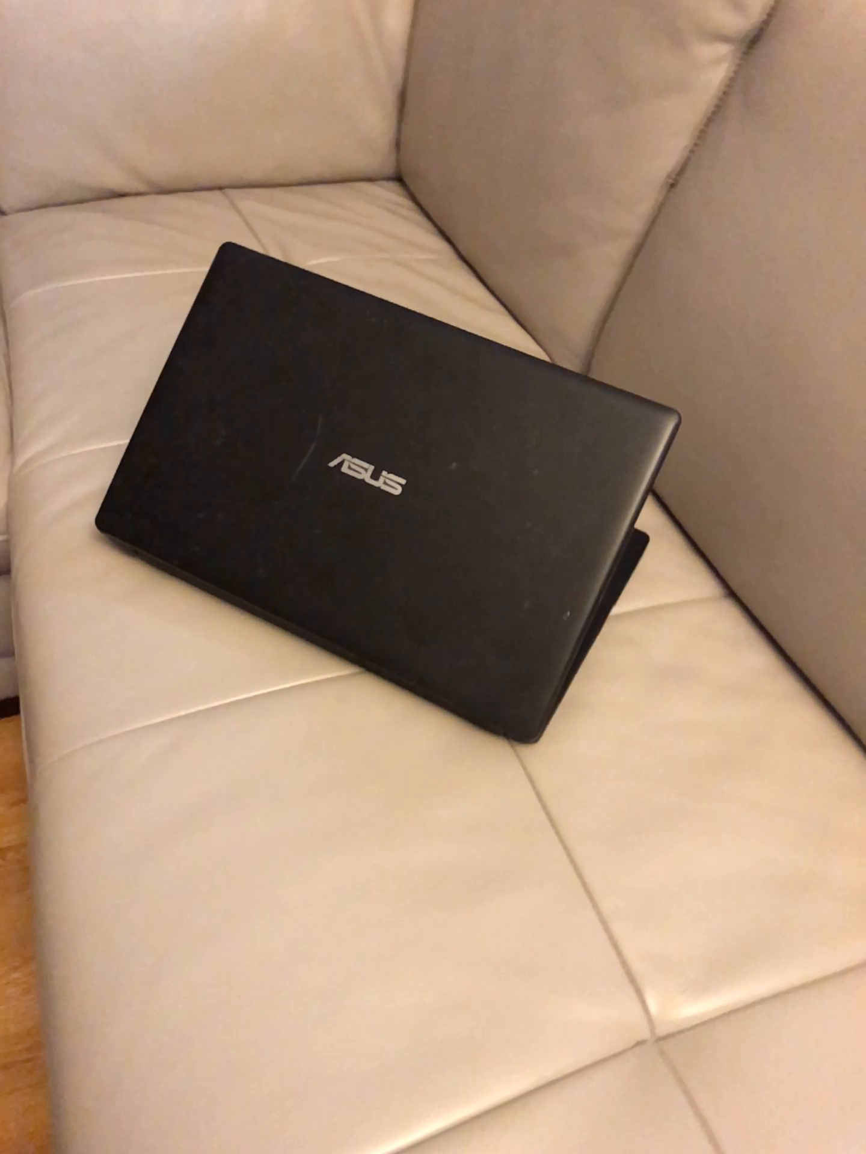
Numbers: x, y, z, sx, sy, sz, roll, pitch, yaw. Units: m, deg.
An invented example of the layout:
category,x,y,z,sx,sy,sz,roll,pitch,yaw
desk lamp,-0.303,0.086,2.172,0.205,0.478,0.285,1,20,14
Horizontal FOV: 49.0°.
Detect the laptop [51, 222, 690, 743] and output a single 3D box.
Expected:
category,x,y,z,sx,sy,sz,roll,pitch,yaw
laptop,-0.038,-0.091,0.708,0.370,0.155,0.242,25,48,16
